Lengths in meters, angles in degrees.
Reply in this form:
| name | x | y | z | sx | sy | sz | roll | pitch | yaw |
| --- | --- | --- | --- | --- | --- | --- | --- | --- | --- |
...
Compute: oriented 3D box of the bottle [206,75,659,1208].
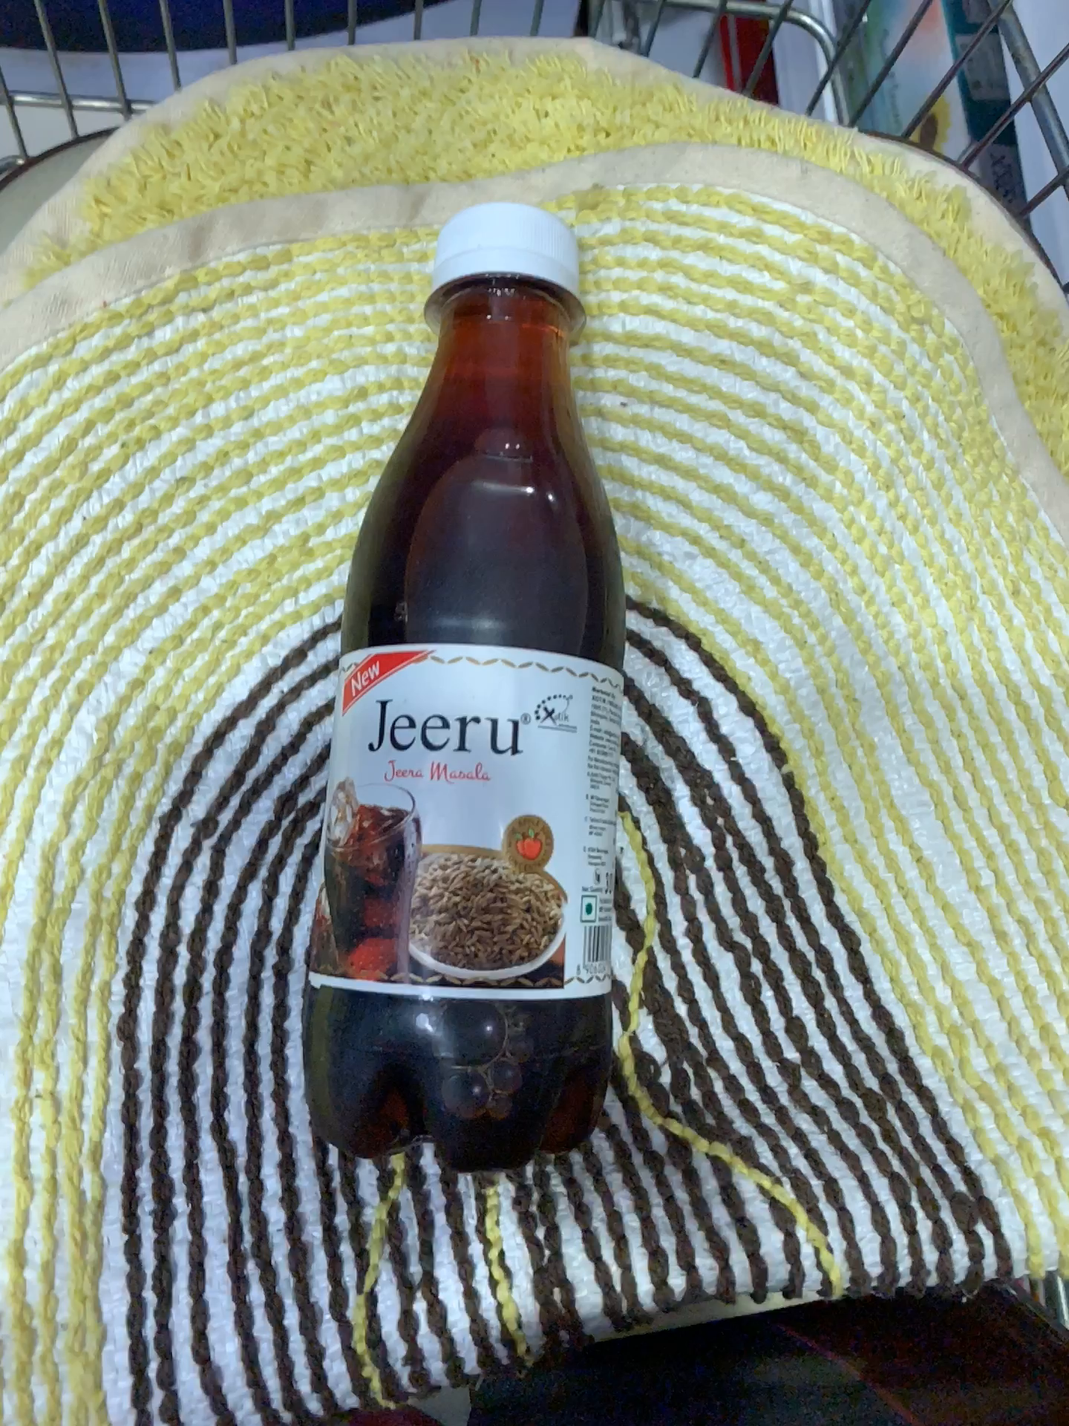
| name | x | y | z | sx | sy | sz | roll | pitch | yaw |
| --- | --- | --- | --- | --- | --- | --- | --- | --- | --- |
| bottle | -0.013 | -0.014 | 0.205 | 0.060 | 0.060 | 0.180 | 3 | 82 | 2 |
